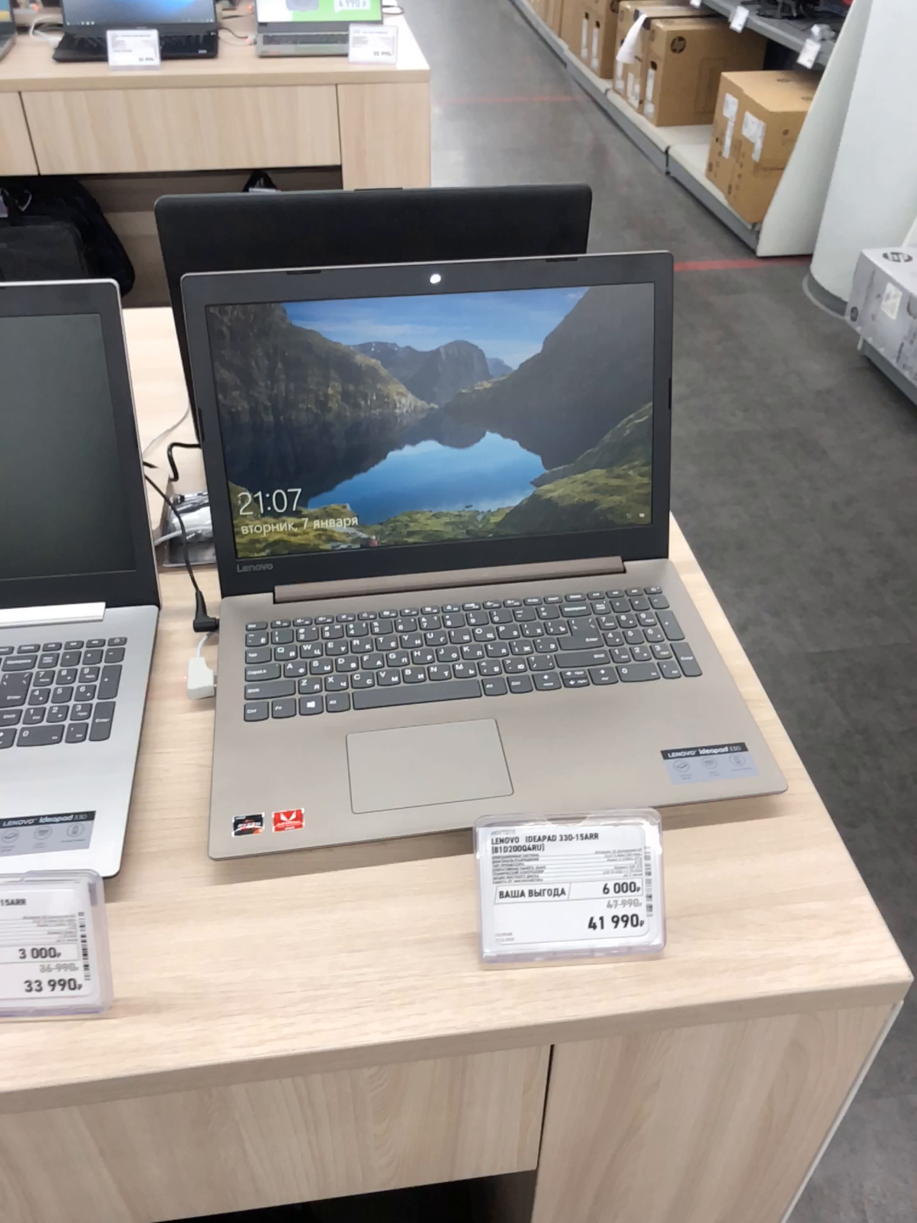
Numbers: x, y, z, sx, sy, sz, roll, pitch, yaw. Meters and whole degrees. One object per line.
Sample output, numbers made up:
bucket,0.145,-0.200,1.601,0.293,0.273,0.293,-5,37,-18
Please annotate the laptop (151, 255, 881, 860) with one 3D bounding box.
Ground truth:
laptop,0.011,-0.059,0.667,0.350,0.209,0.330,-5,40,-6

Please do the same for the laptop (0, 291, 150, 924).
laptop,-0.391,-0.027,0.614,0.343,0.207,0.324,-5,40,-8
